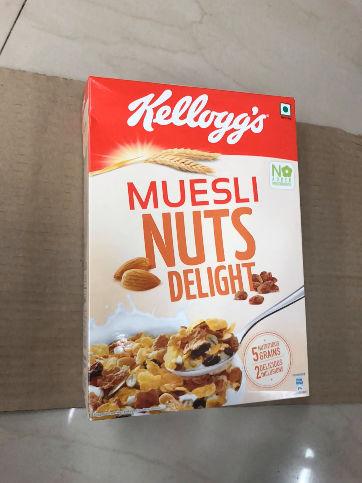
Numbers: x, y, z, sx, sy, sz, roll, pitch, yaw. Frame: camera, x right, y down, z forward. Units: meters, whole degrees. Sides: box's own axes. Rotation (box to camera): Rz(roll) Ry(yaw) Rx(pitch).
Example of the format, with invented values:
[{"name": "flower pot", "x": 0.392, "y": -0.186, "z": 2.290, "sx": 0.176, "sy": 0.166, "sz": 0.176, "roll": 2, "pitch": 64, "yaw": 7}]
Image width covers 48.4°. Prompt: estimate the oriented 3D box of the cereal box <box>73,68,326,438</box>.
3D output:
[{"name": "cereal box", "x": 0.010, "y": 0.006, "z": 0.336, "sx": 0.190, "sy": 0.080, "sz": 0.250, "roll": -1, "pitch": 88, "yaw": -16}]
